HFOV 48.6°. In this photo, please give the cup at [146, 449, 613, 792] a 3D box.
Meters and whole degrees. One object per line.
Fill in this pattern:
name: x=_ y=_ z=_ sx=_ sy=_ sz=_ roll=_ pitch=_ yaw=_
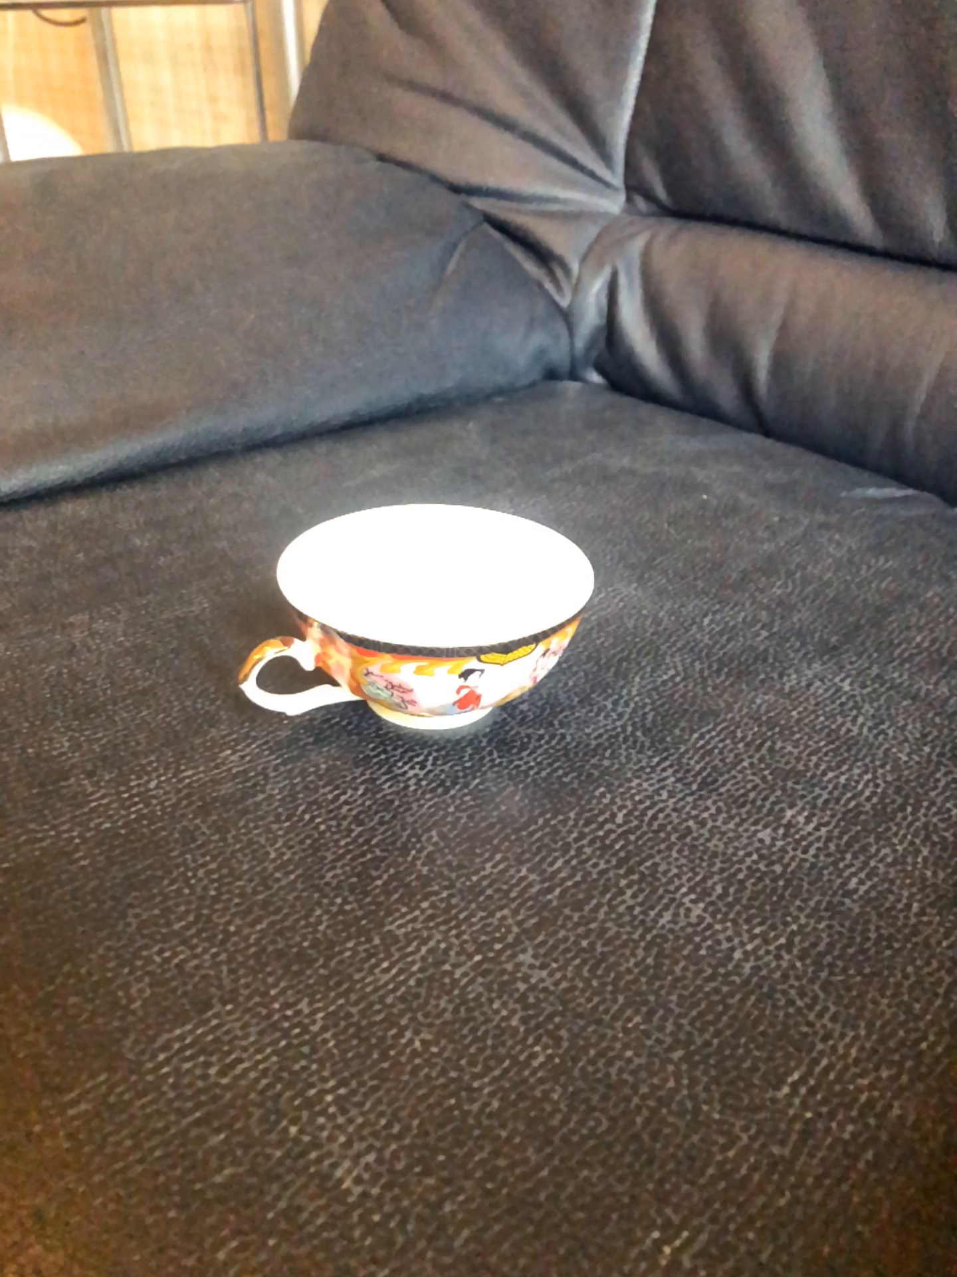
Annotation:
cup: x=-0.032 y=-0.014 z=0.337 sx=0.107 sy=0.041 sz=0.100 roll=0 pitch=31 yaw=0
